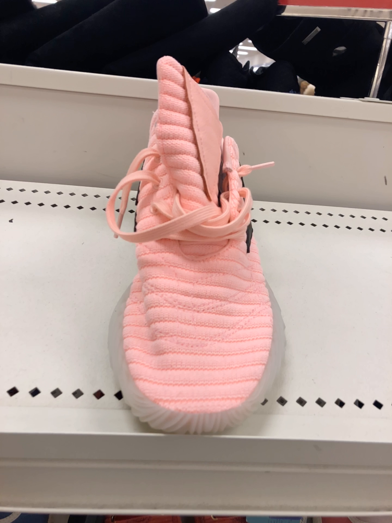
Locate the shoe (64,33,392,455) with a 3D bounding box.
[{"bbox_3d":[0.011,-0.057,0.326,0.120,0.169,0.323,5,33,-2],"label":"shoe"}]
